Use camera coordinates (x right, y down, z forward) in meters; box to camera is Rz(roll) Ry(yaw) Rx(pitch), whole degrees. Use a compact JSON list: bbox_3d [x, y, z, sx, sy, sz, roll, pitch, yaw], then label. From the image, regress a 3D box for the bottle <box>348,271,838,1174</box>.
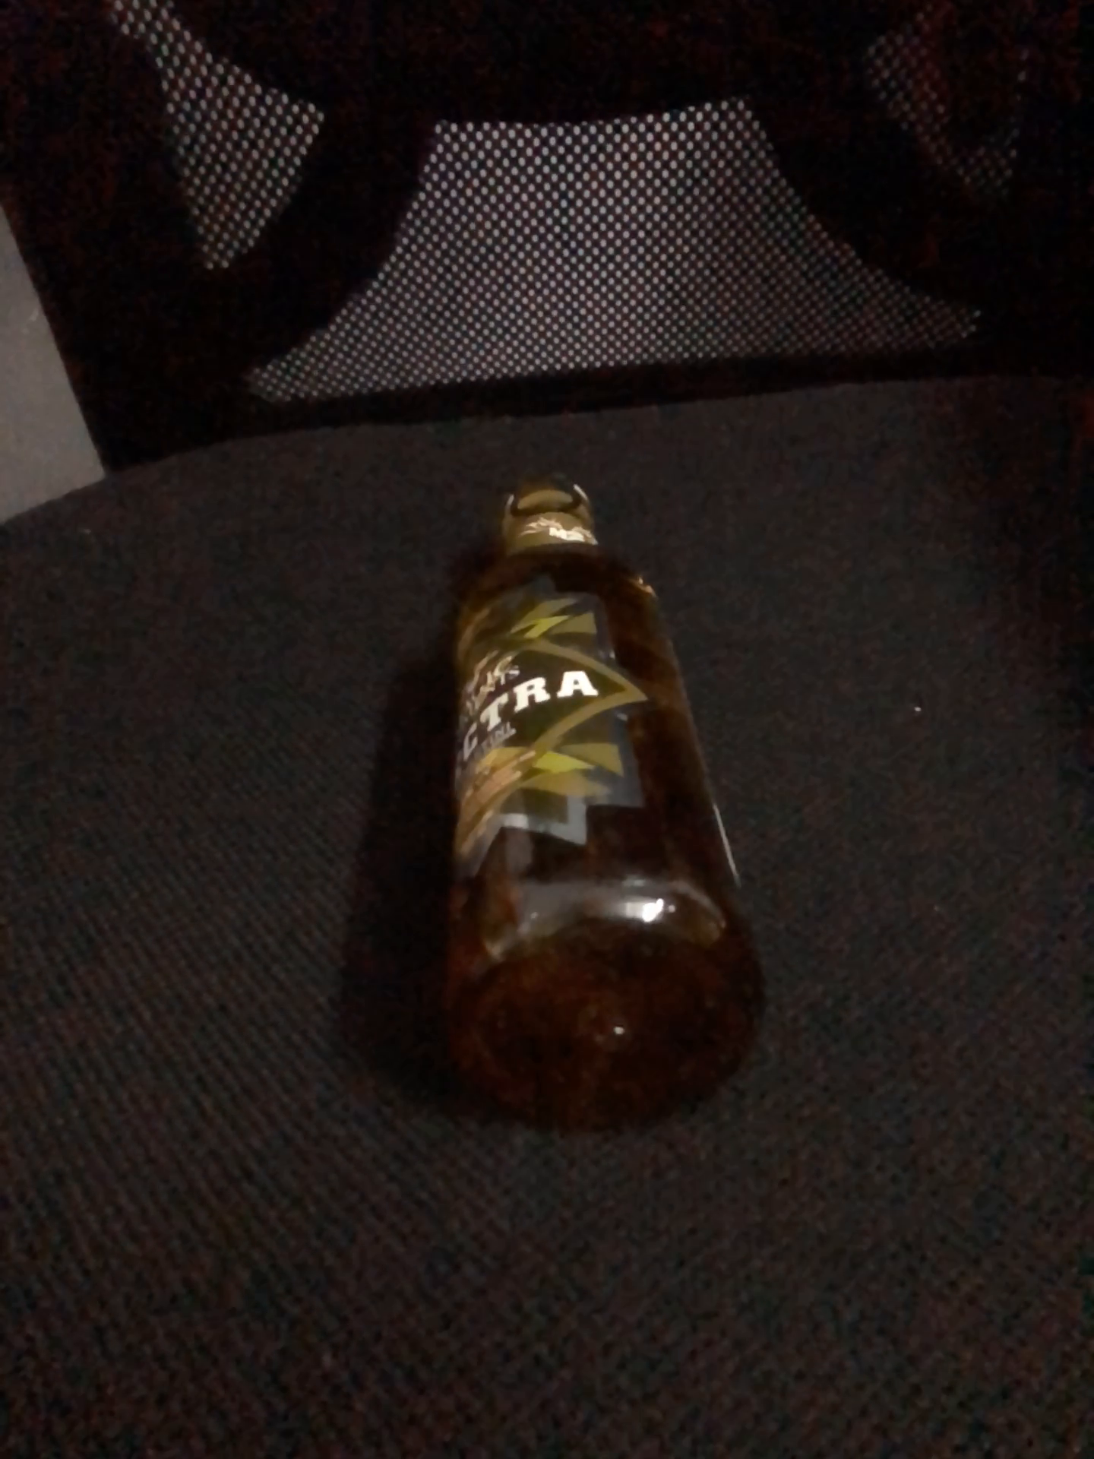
[{"bbox_3d":[0.003,-0.025,0.284,0.070,0.060,0.231,-12,42,6],"label":"bottle"}]
